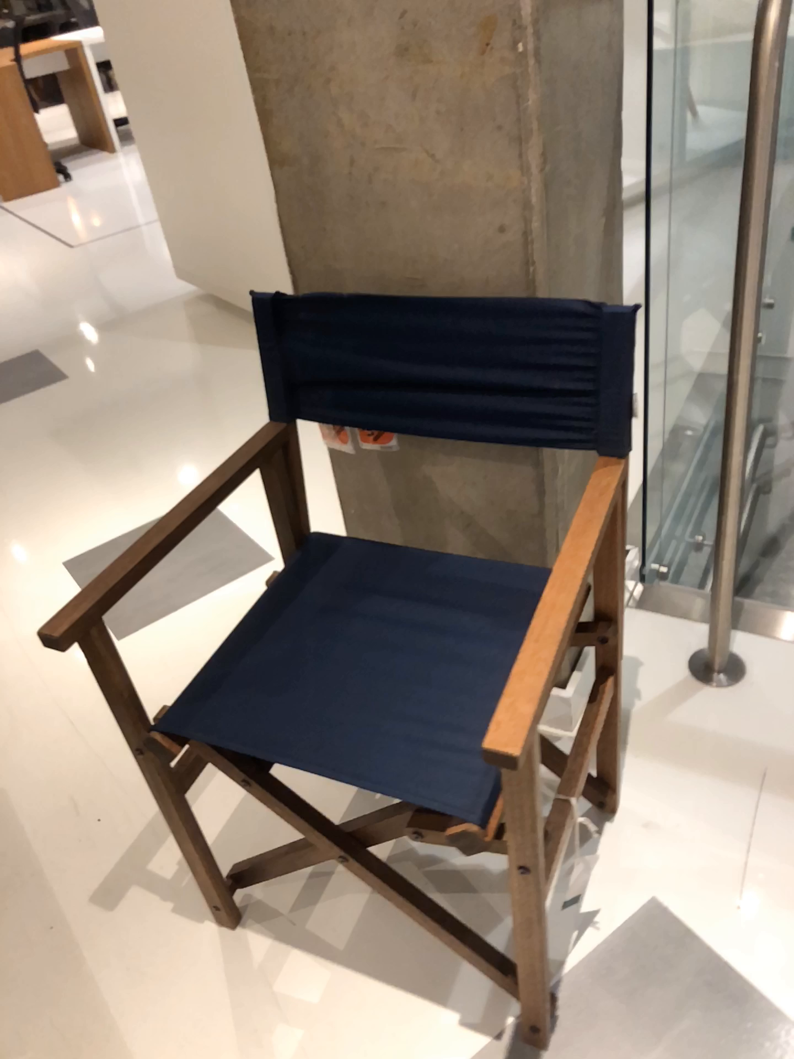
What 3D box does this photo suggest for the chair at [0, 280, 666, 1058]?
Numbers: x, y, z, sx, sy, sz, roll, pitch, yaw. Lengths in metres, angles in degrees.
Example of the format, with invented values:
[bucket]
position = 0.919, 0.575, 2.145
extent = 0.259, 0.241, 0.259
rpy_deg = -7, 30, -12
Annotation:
[chair]
position = -0.016, 0.157, 1.125
extent = 0.581, 0.774, 0.503
rpy_deg = 9, 39, 26
